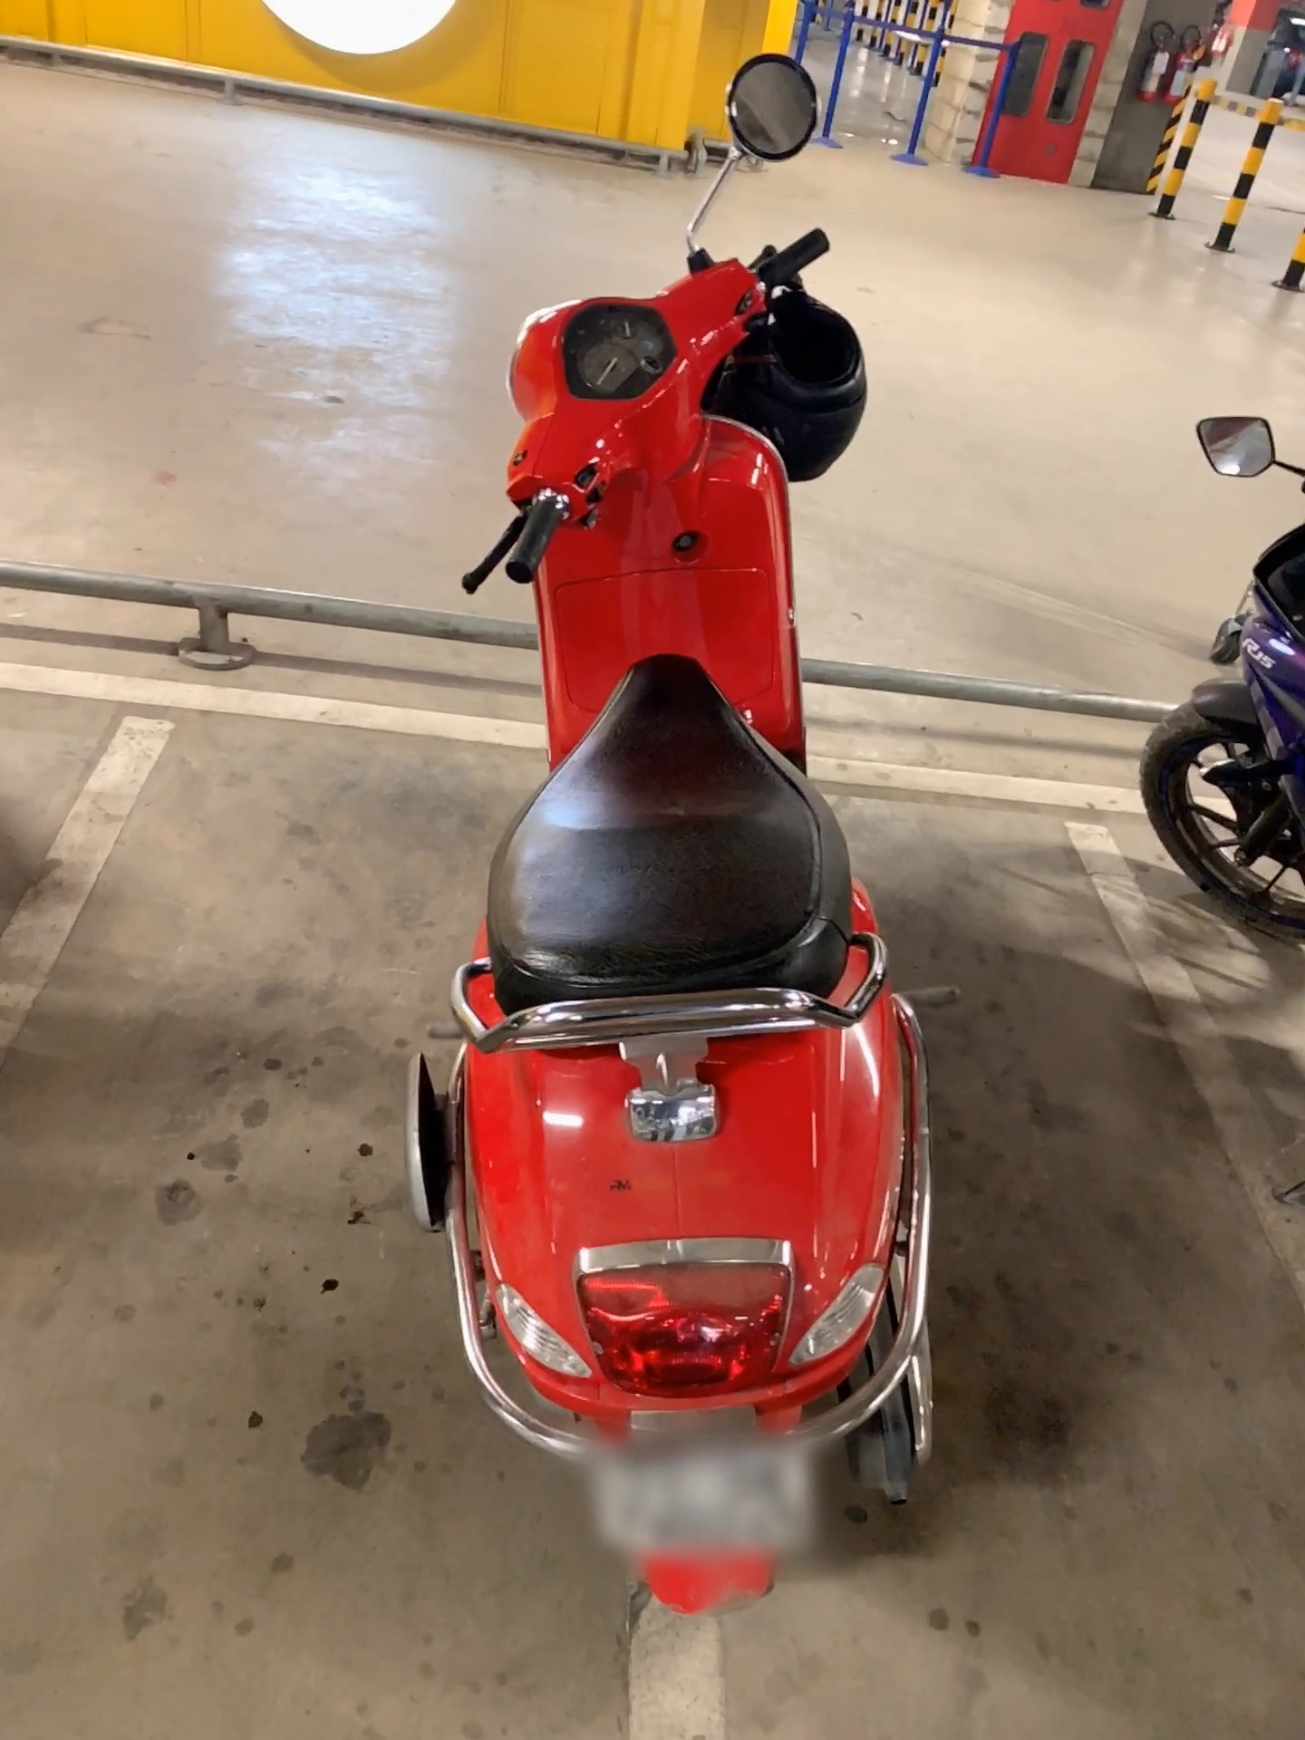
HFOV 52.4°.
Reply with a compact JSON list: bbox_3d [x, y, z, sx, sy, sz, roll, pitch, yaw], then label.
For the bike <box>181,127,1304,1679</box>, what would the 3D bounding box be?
[{"bbox_3d":[-0.132,-0.123,1.733,0.632,1.201,1.687,3,36,-11],"label":"bike"}]
